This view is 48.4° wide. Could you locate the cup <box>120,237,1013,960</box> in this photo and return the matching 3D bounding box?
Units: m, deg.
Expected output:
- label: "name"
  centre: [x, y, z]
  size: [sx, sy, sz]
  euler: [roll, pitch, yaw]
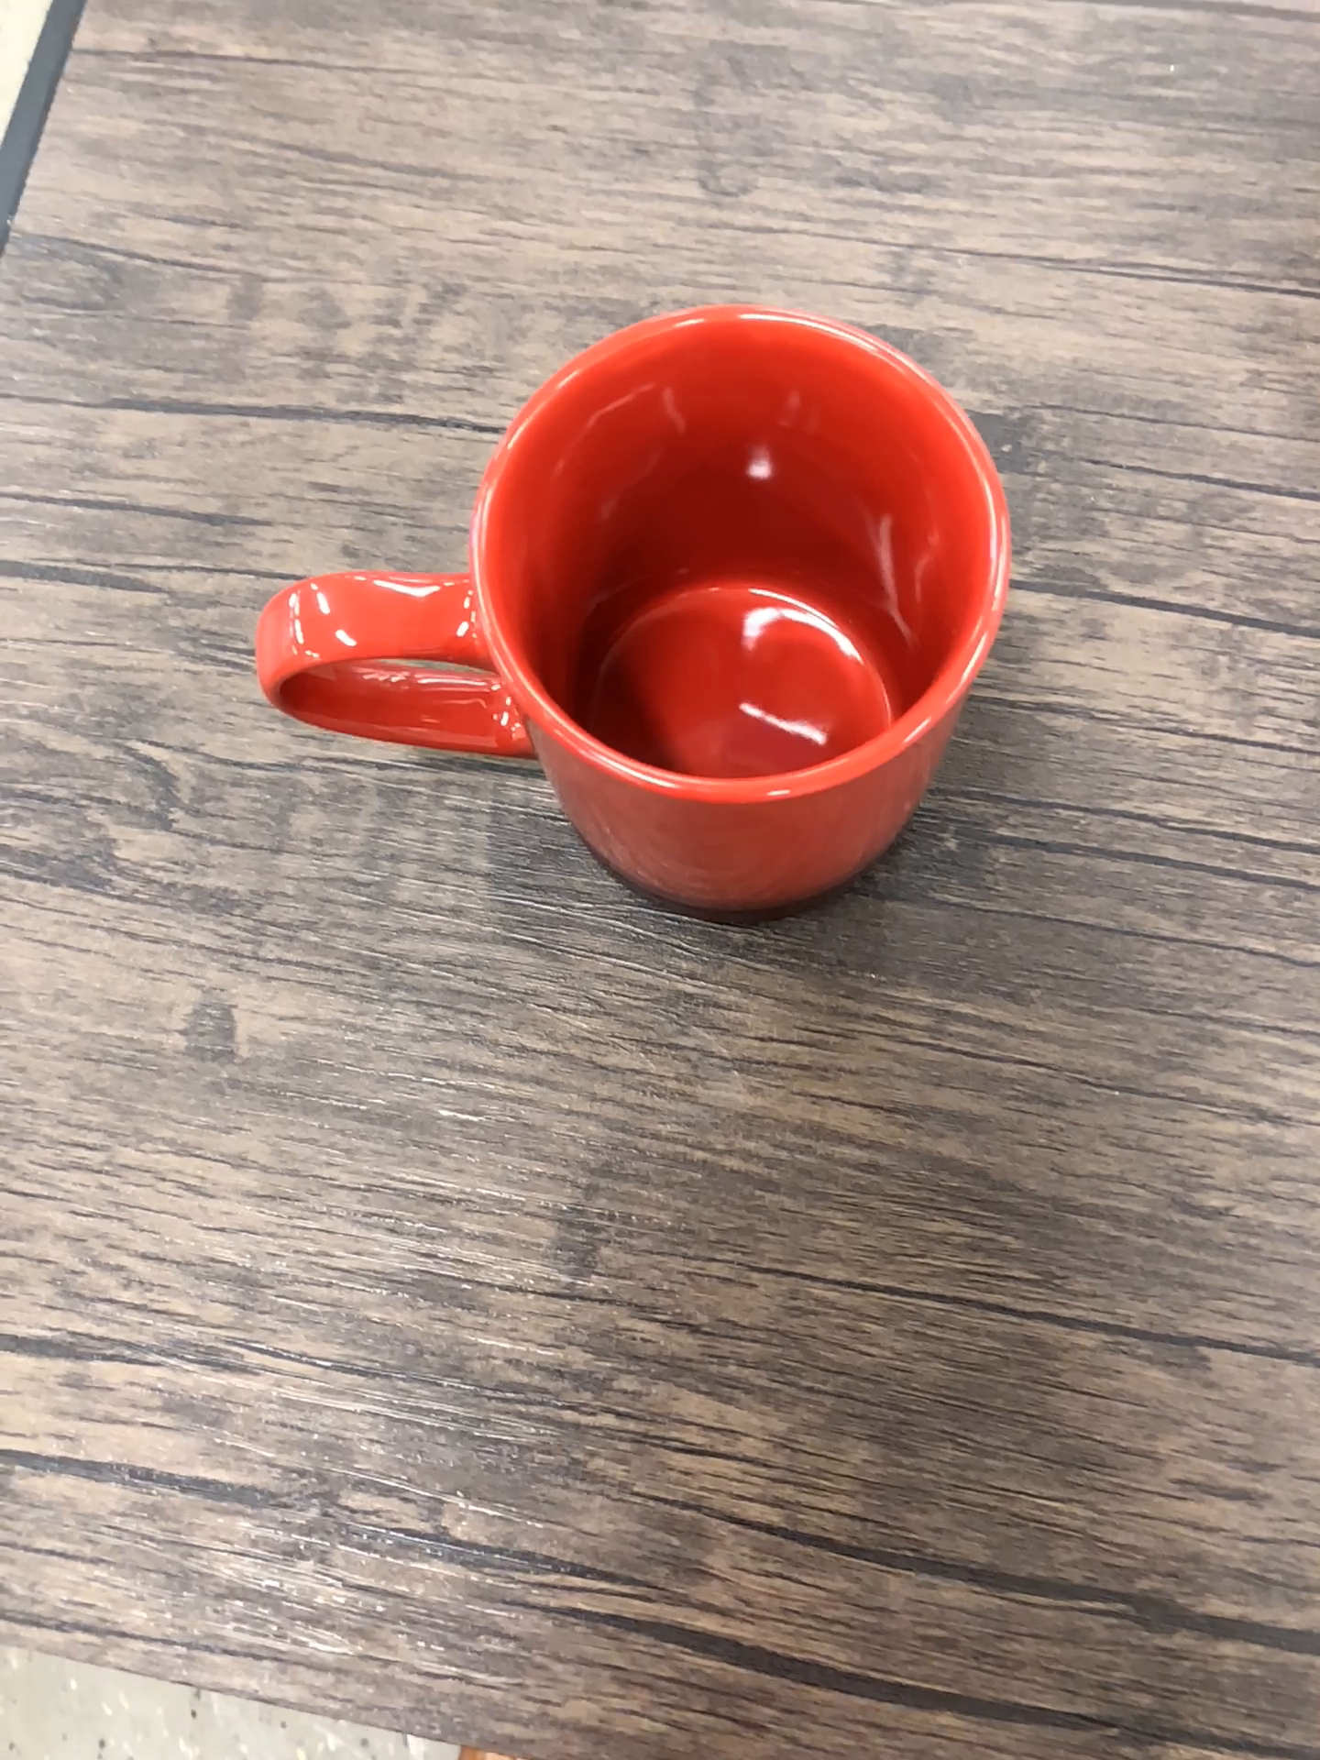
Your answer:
- label: "cup"
  centre: [-0.010, -0.048, 0.295]
  size: [0.140, 0.110, 0.100]
  euler: [3, 76, 4]
